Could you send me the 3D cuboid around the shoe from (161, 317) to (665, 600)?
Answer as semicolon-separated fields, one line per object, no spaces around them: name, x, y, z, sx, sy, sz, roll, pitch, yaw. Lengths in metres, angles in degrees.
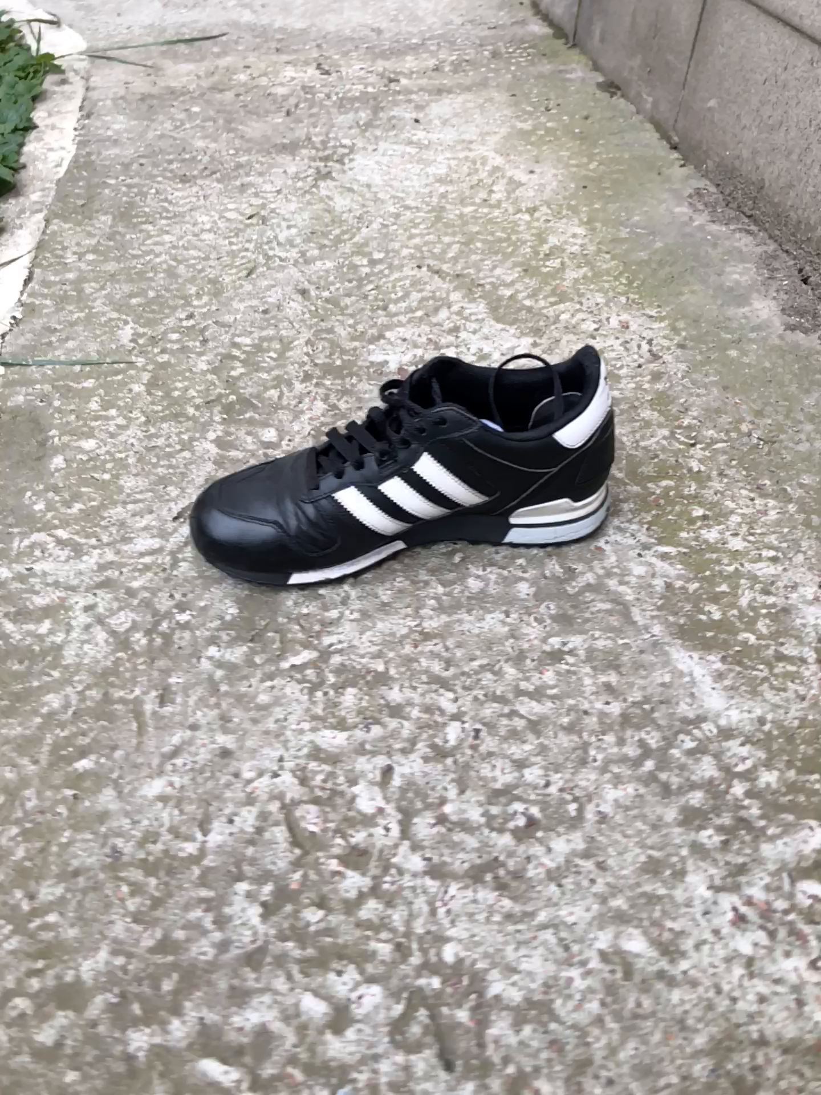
shoe;-0.004;-0.059;0.567;0.280;0.119;0.101;-6;44;-10
